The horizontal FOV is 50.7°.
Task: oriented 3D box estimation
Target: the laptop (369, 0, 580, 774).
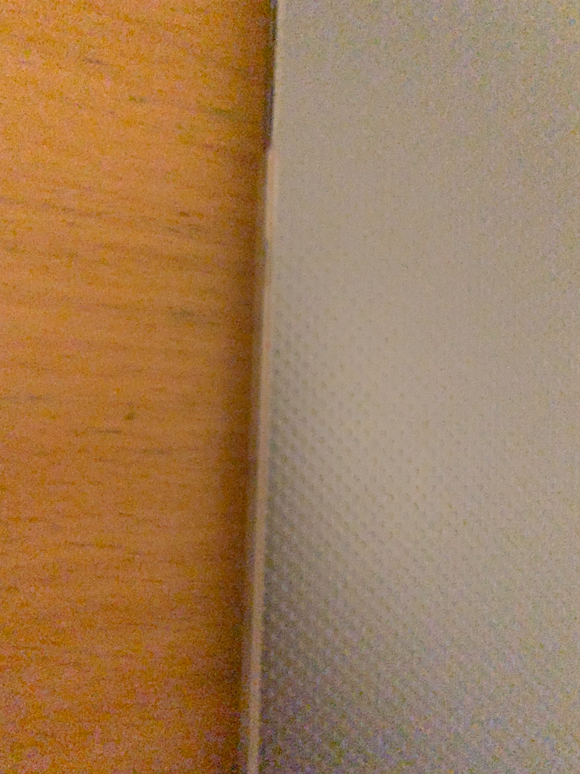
[{"bbox_3d":[0.155,0.015,0.133,0.292,0.005,0.210,2,88,-16],"label":"laptop"}]
